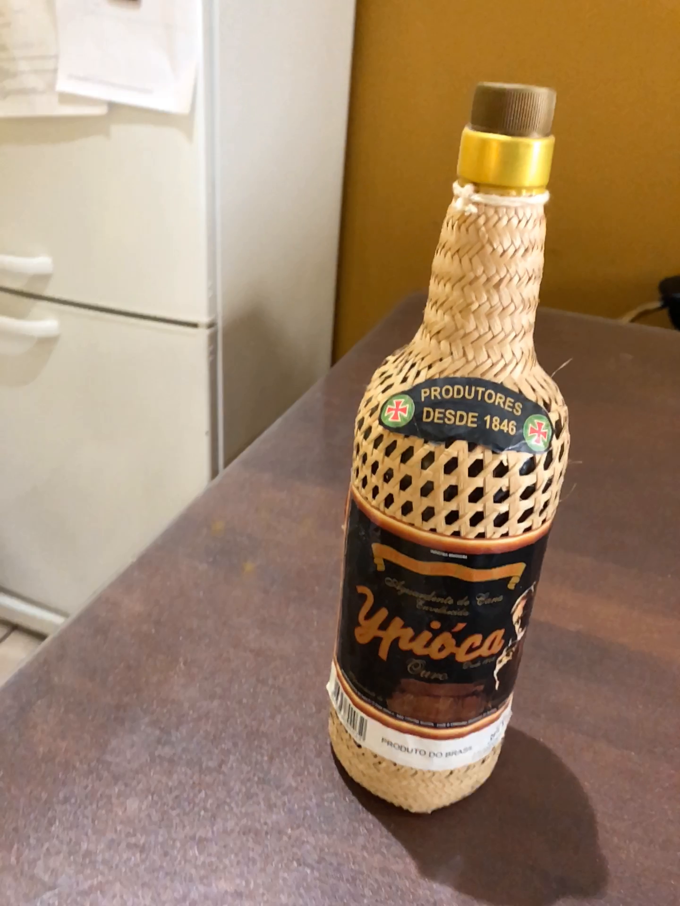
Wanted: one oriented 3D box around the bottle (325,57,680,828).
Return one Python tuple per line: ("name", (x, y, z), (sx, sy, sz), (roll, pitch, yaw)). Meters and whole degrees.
("bottle", (0.054, 0.014, 0.332), (0.100, 0.328, 0.091), (4, 28, 0))
